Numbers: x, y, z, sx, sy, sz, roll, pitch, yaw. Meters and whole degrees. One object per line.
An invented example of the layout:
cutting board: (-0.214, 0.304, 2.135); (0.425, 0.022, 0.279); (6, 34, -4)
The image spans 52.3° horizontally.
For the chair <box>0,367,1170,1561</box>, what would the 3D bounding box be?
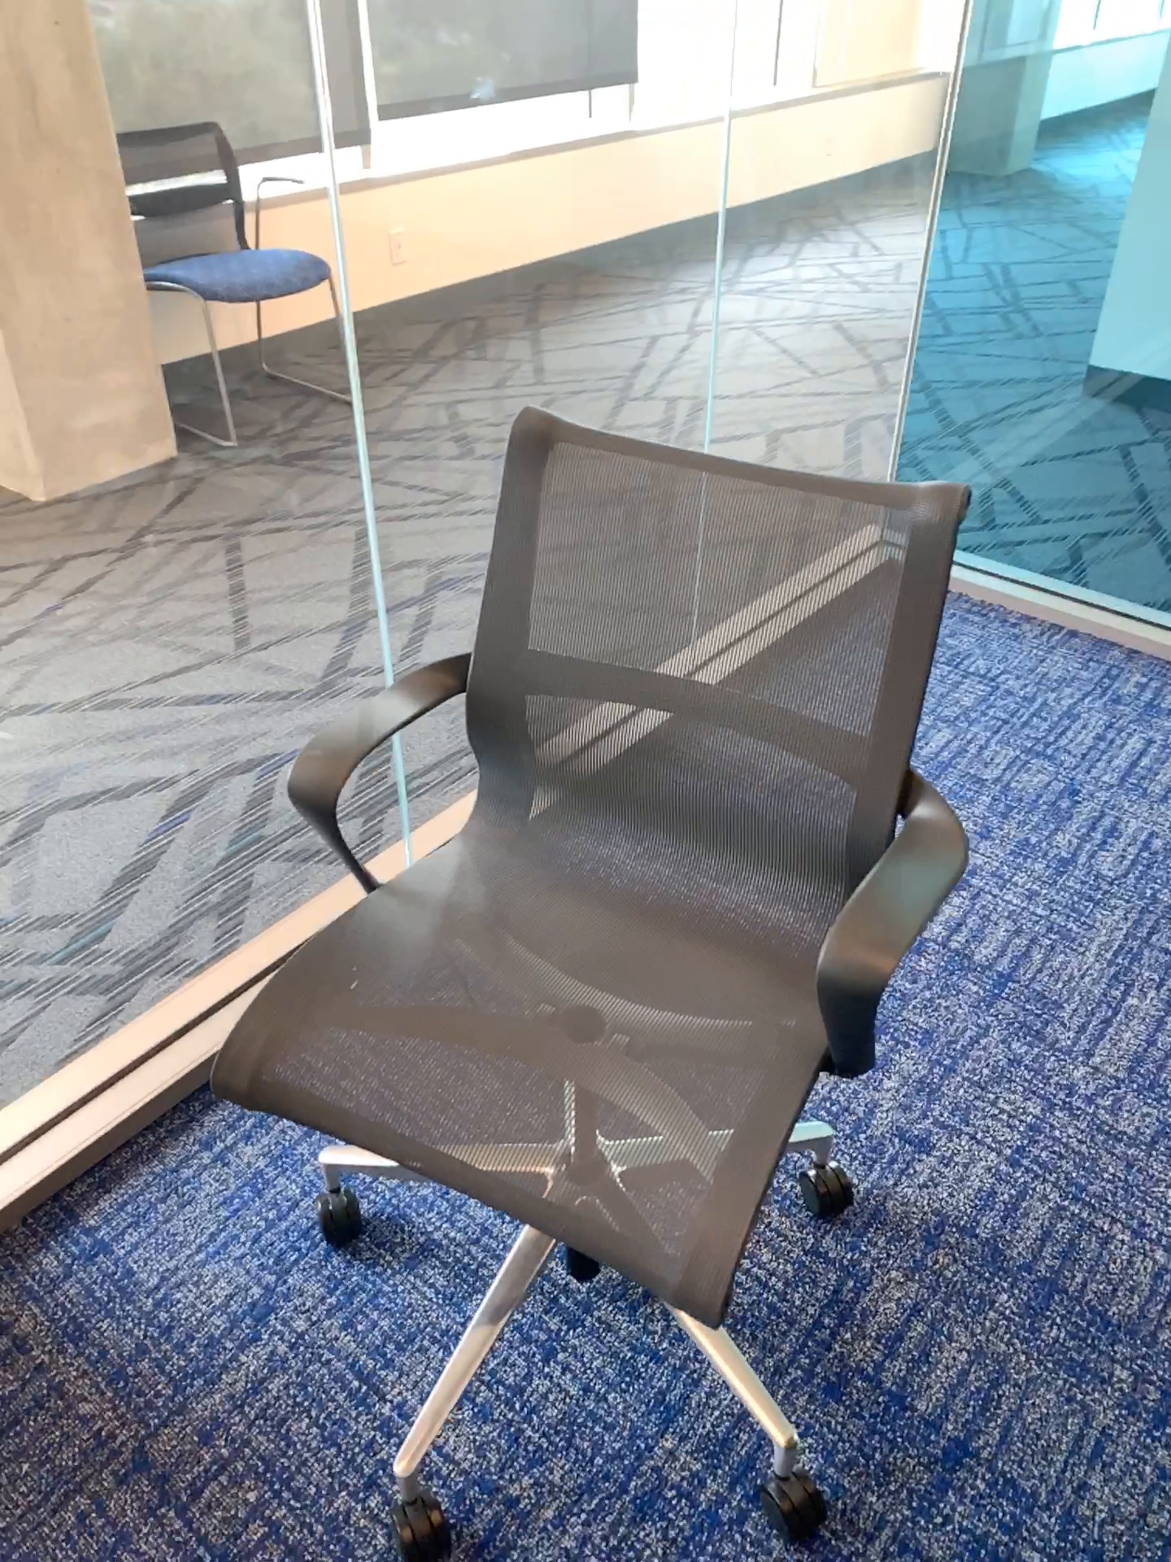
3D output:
chair: (0.033, 0.174, 1.000); (0.661, 0.773, 0.645); (16, 37, 21)
